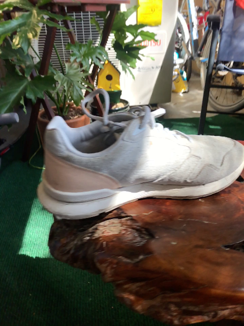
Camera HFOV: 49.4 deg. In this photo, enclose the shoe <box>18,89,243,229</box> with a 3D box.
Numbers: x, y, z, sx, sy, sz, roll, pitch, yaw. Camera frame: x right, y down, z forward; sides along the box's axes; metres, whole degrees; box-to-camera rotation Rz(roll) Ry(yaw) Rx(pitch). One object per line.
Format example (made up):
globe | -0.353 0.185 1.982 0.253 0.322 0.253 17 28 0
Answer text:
shoe | 0.029 -0.017 0.320 0.264 0.091 0.103 -9 30 -10
